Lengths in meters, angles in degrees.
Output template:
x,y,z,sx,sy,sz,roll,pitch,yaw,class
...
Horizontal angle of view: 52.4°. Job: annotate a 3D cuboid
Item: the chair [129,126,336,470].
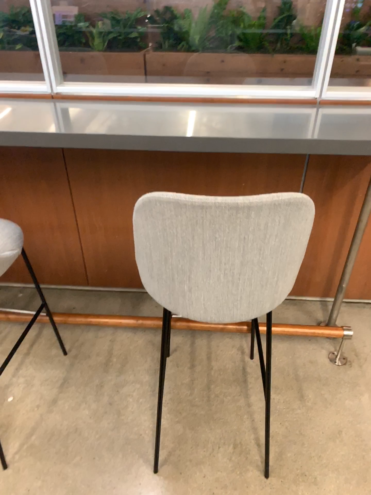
x,y,z,sx,sy,sz,roll,pitch,yaw,class
0.077,0.201,1.243,0.410,1.034,0.513,-2,35,-3,chair
